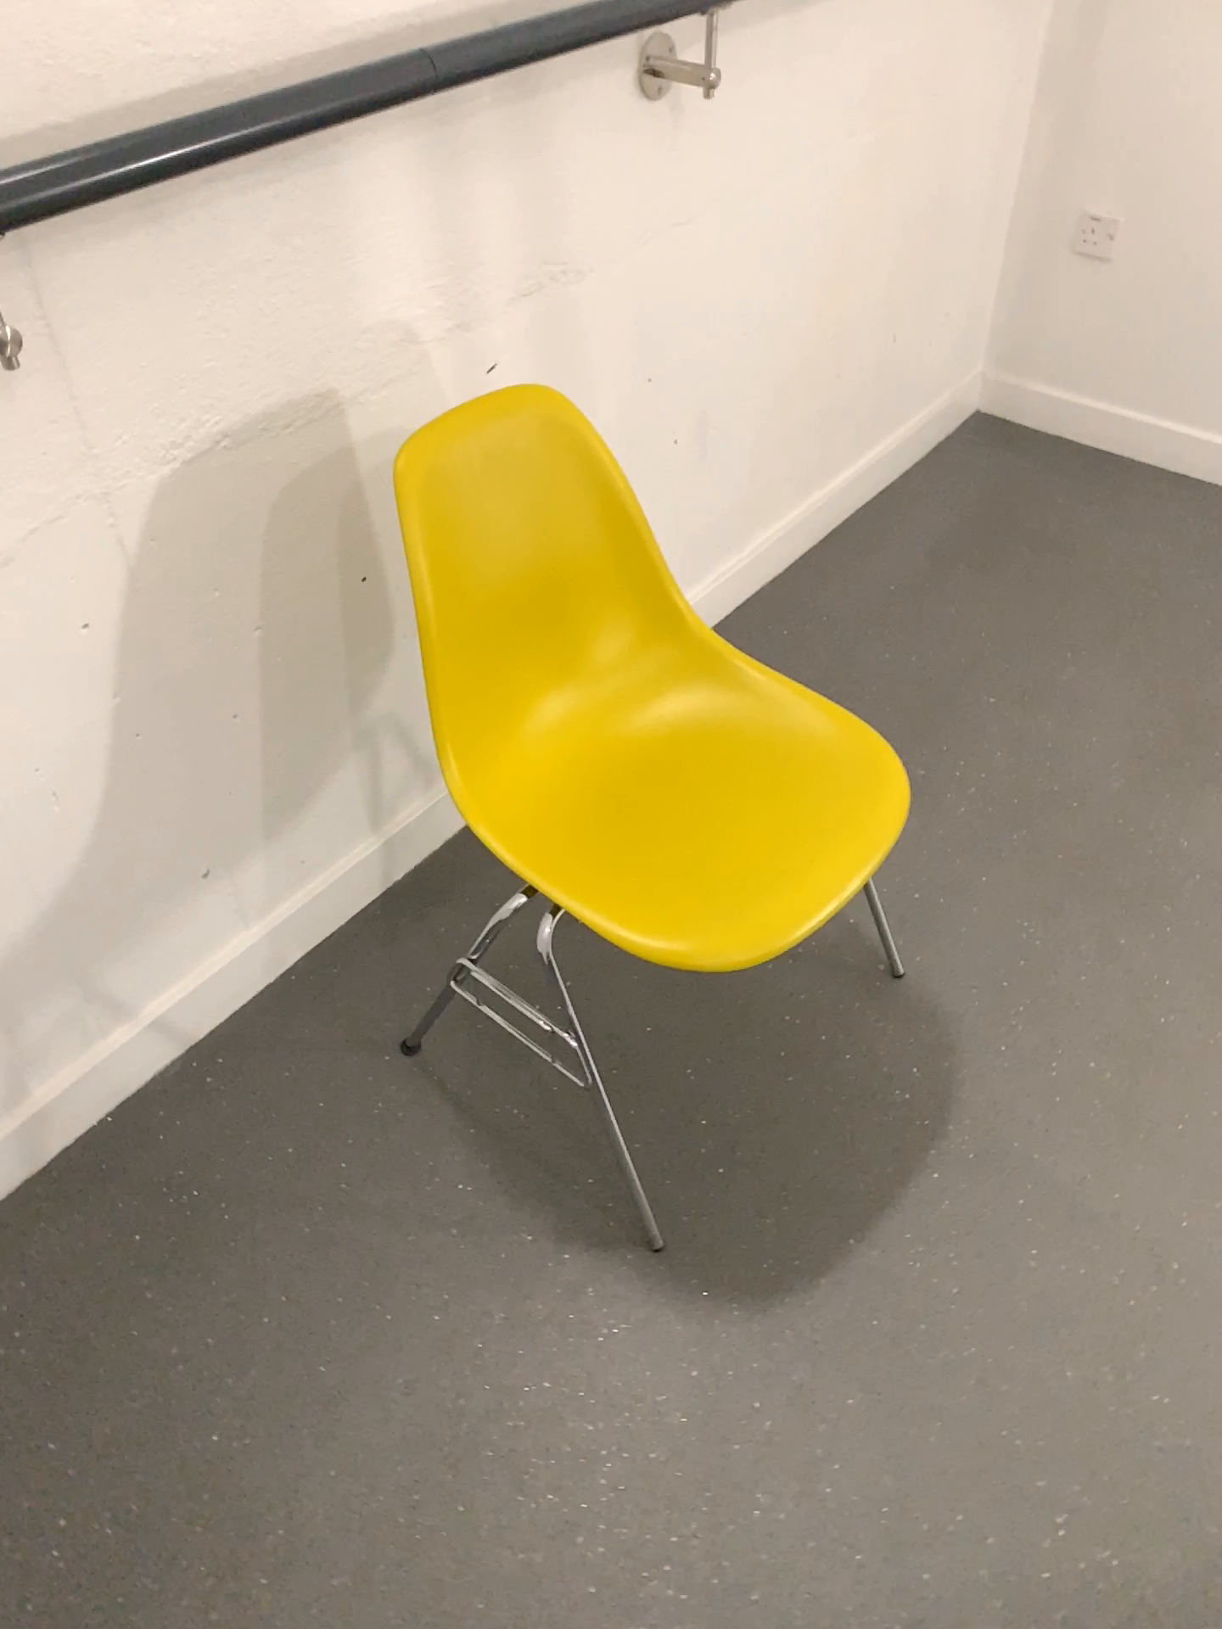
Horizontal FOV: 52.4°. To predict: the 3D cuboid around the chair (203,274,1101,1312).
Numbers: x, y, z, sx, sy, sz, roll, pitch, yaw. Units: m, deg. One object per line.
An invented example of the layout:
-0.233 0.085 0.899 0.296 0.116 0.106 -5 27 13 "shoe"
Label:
0.064 -0.035 1.402 0.542 0.821 0.634 28 50 28 "chair"
